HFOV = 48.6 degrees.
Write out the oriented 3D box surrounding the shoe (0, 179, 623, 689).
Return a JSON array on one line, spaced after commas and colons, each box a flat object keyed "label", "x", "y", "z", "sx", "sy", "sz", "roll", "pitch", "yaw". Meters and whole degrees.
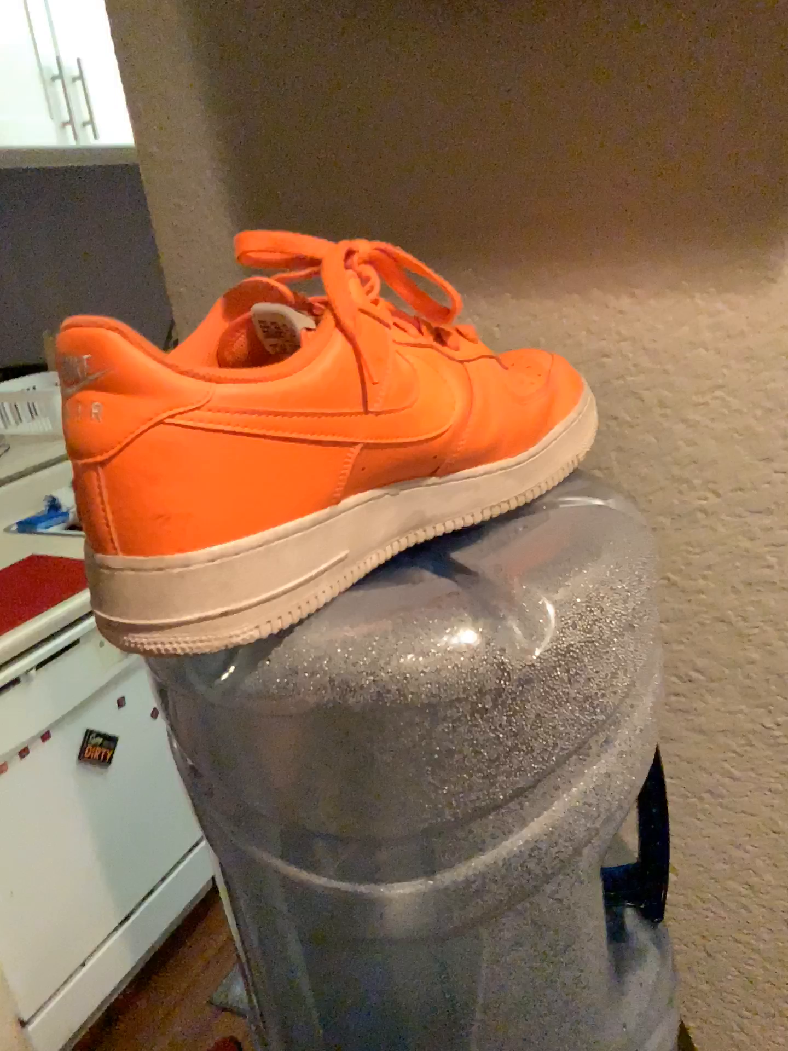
[{"label": "shoe", "x": -0.016, "y": -0.070, "z": 0.404, "sx": 0.120, "sy": 0.140, "sz": 0.300, "roll": 7, "pitch": 24, "yaw": 37}]
